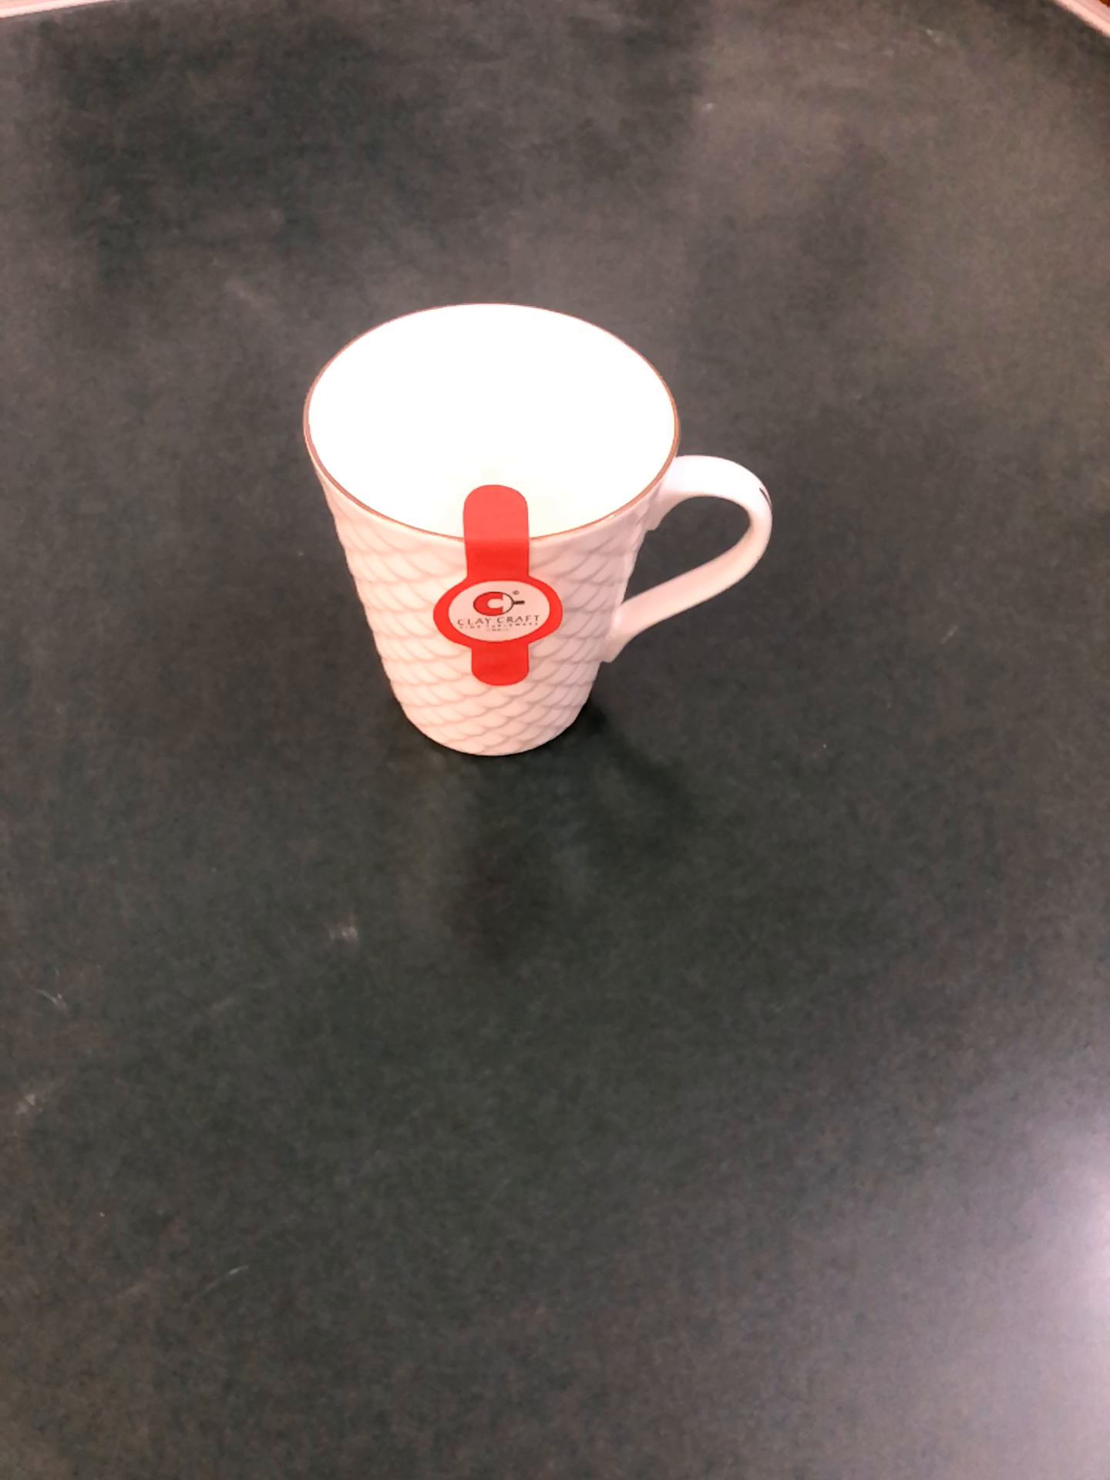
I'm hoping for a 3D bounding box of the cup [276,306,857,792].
[{"bbox_3d":[-0.001,-0.047,0.315,0.120,0.090,0.080,-2,53,-4],"label":"cup"}]
